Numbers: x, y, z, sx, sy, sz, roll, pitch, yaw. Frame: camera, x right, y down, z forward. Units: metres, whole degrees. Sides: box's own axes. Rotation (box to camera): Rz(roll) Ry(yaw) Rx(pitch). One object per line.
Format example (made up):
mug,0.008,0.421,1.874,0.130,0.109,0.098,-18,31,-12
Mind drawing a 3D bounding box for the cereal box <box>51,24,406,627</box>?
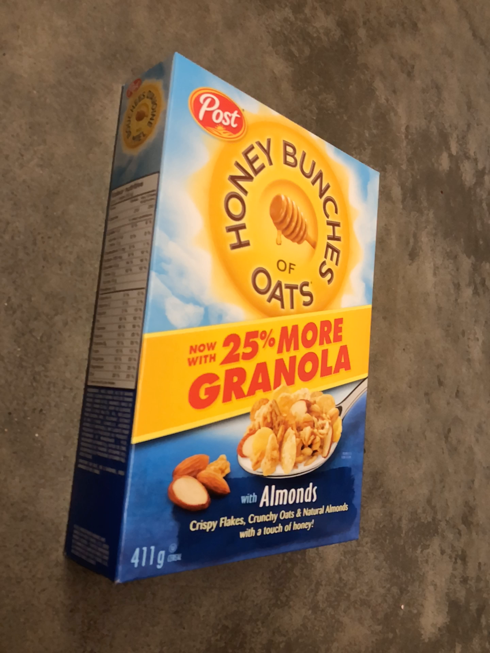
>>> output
cereal box,0.010,0.006,0.327,0.201,0.060,0.270,11,82,-42
